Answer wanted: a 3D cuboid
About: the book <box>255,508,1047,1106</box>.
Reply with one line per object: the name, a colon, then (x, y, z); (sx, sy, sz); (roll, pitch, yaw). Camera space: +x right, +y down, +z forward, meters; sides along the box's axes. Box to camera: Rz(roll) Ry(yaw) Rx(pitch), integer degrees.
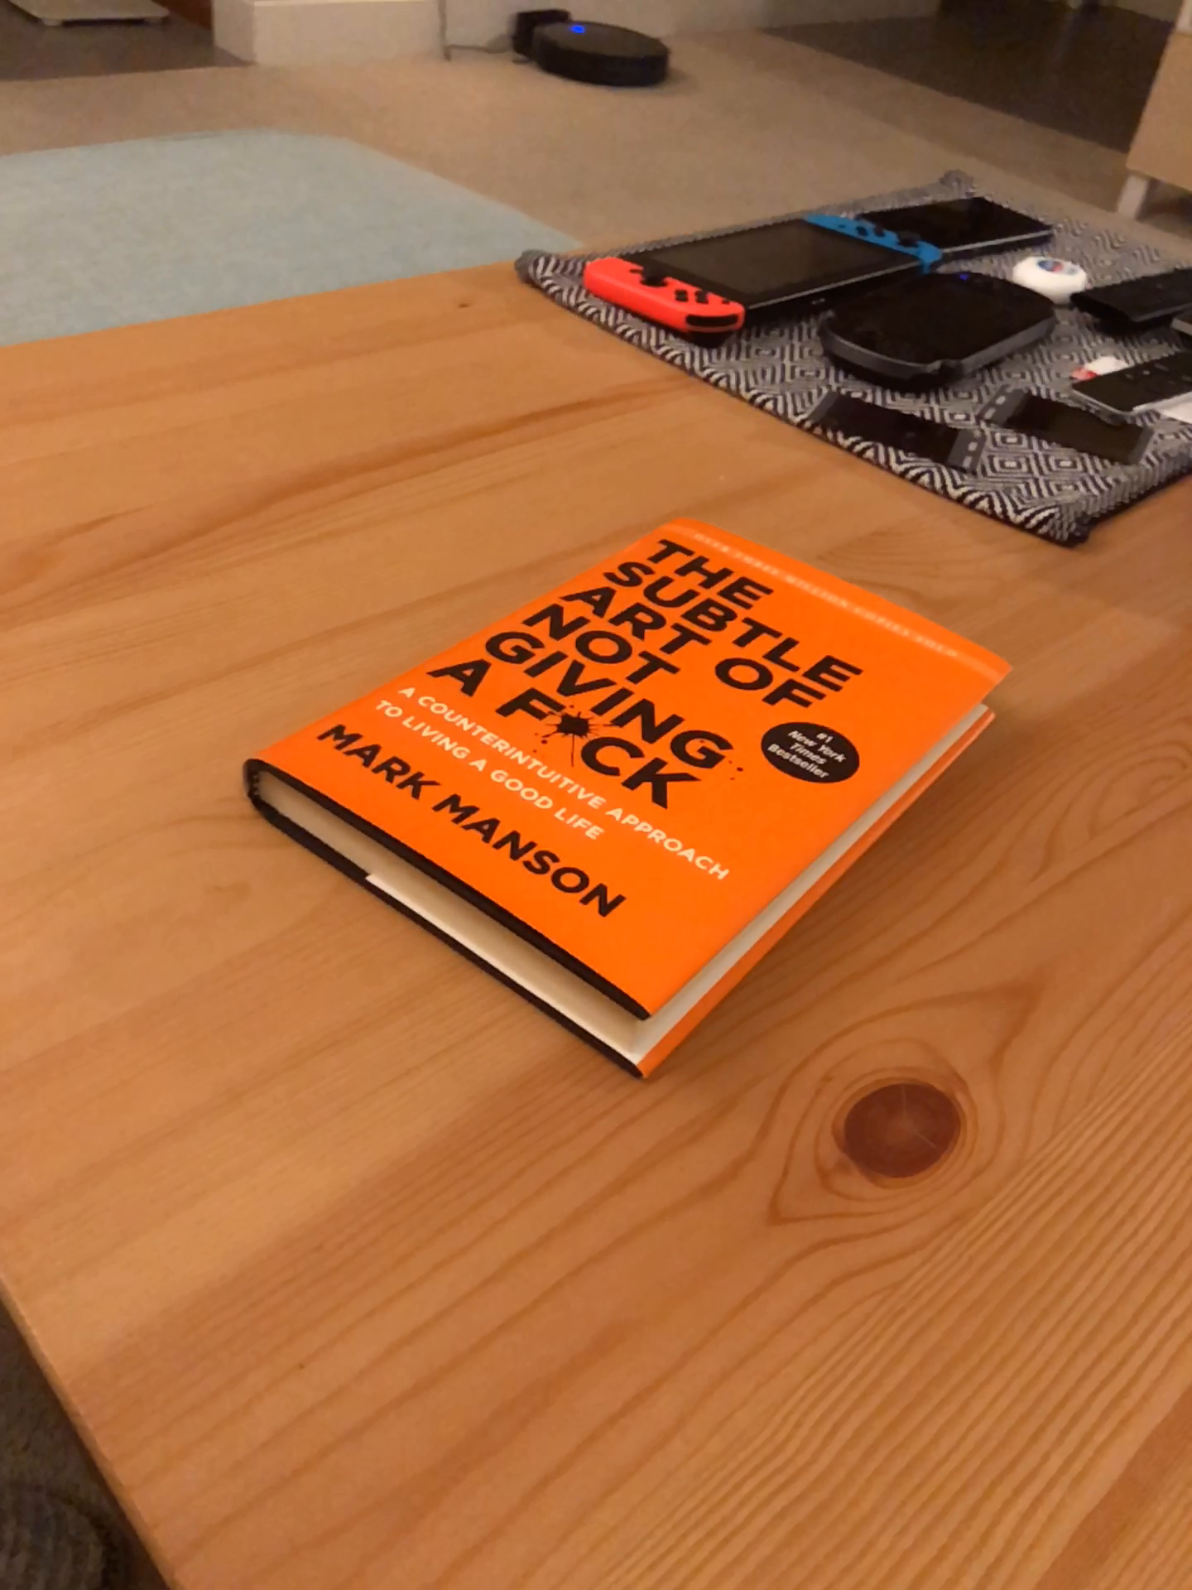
book: (0.027, -0.017, 0.443); (0.160, 0.030, 0.221); (30, 46, 27)
